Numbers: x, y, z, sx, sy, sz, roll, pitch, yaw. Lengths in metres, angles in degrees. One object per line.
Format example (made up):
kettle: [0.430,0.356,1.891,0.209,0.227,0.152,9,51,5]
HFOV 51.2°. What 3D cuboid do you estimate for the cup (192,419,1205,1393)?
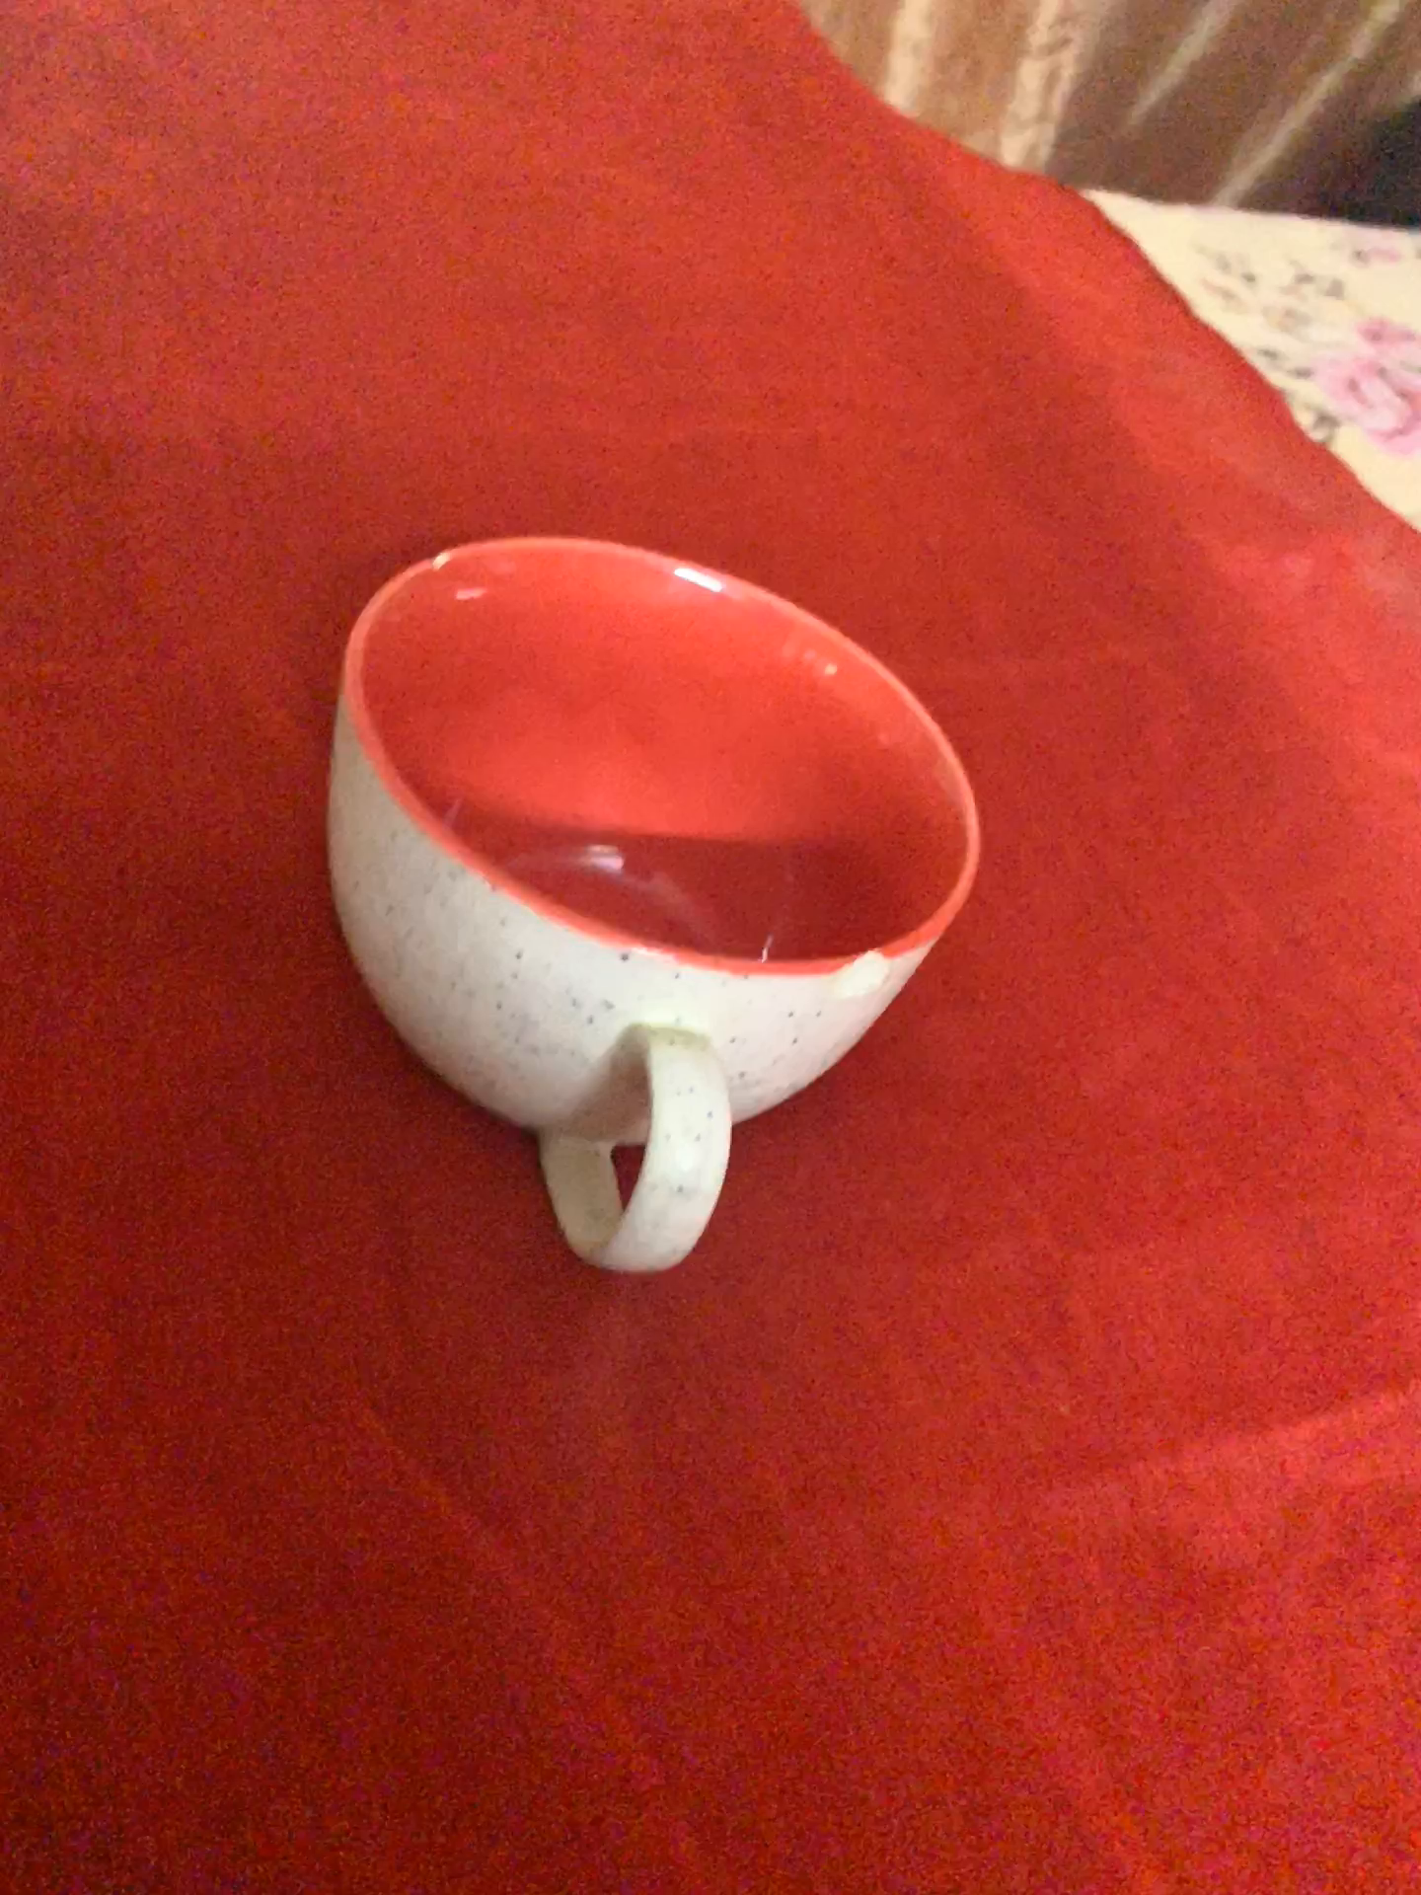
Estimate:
cup: [-0.008,-0.009,0.258,0.130,0.069,0.141,12,46,-12]
